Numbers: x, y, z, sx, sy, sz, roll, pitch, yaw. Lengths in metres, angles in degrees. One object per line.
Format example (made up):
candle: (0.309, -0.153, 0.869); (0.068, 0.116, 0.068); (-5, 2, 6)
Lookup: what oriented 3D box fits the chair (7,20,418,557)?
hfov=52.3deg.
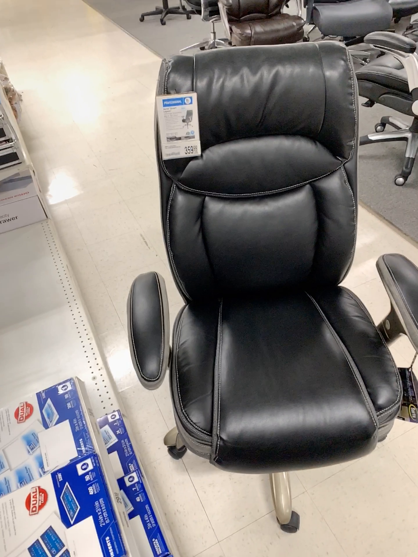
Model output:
chair: (0.154, 0.089, 1.093); (0.740, 1.094, 0.744); (-7, 44, -2)
